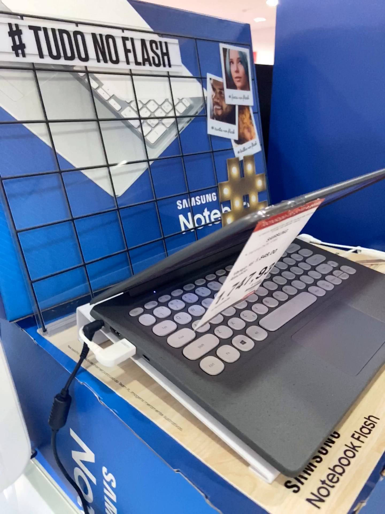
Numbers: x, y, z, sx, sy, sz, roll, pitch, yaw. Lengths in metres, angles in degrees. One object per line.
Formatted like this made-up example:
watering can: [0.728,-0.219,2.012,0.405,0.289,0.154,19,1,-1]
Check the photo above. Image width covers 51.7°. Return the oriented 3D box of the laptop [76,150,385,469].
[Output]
laptop: [0.093,-0.008,0.394,0.211,0.114,0.324,26,33,36]
